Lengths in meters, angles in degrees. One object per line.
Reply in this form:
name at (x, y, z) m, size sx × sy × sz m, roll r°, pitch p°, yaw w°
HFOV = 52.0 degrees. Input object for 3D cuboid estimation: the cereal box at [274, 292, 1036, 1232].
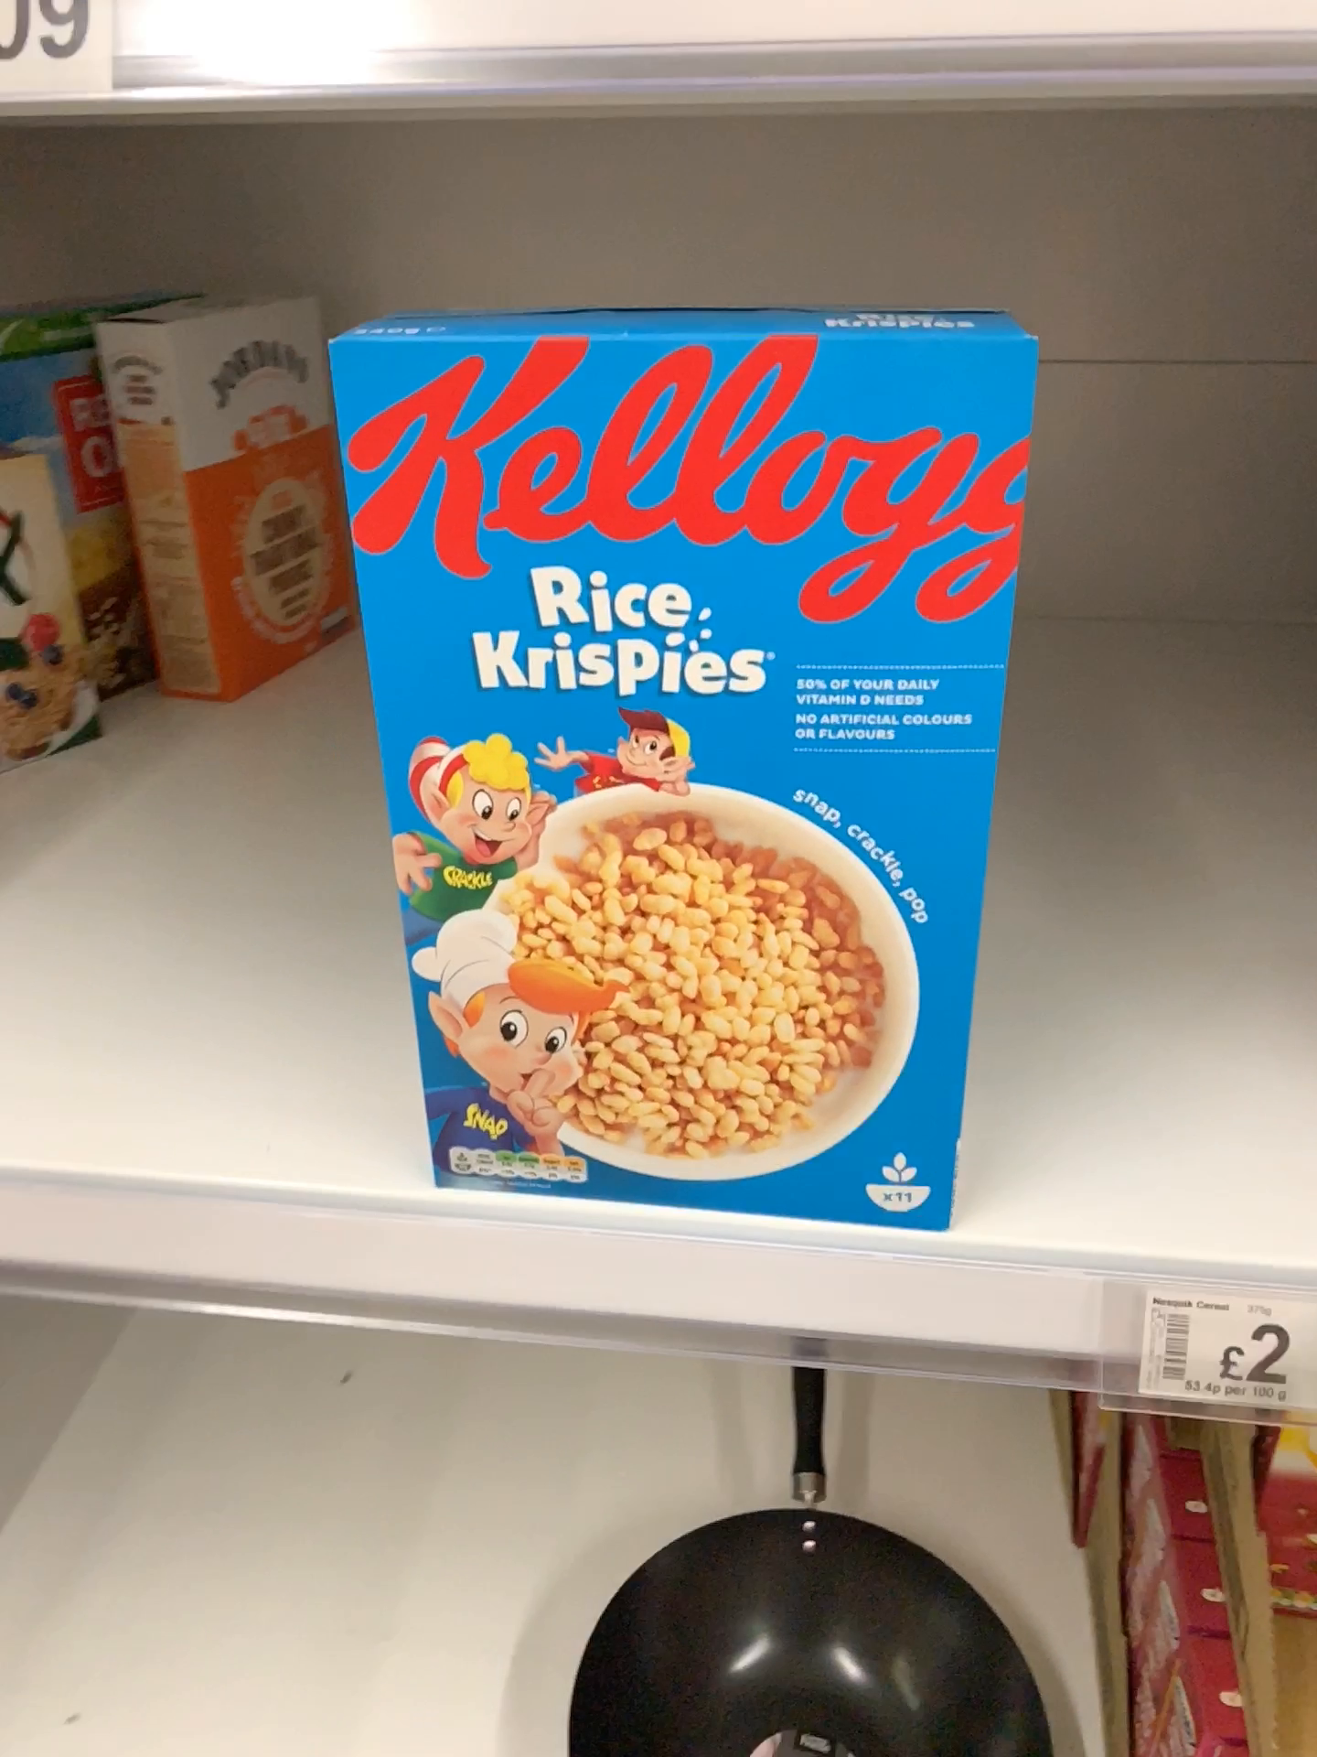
cereal box at (0.003, -0.030, 0.449) m, size 0.200 × 0.297 × 0.071 m, roll 3°, pitch 28°, yaw 8°
